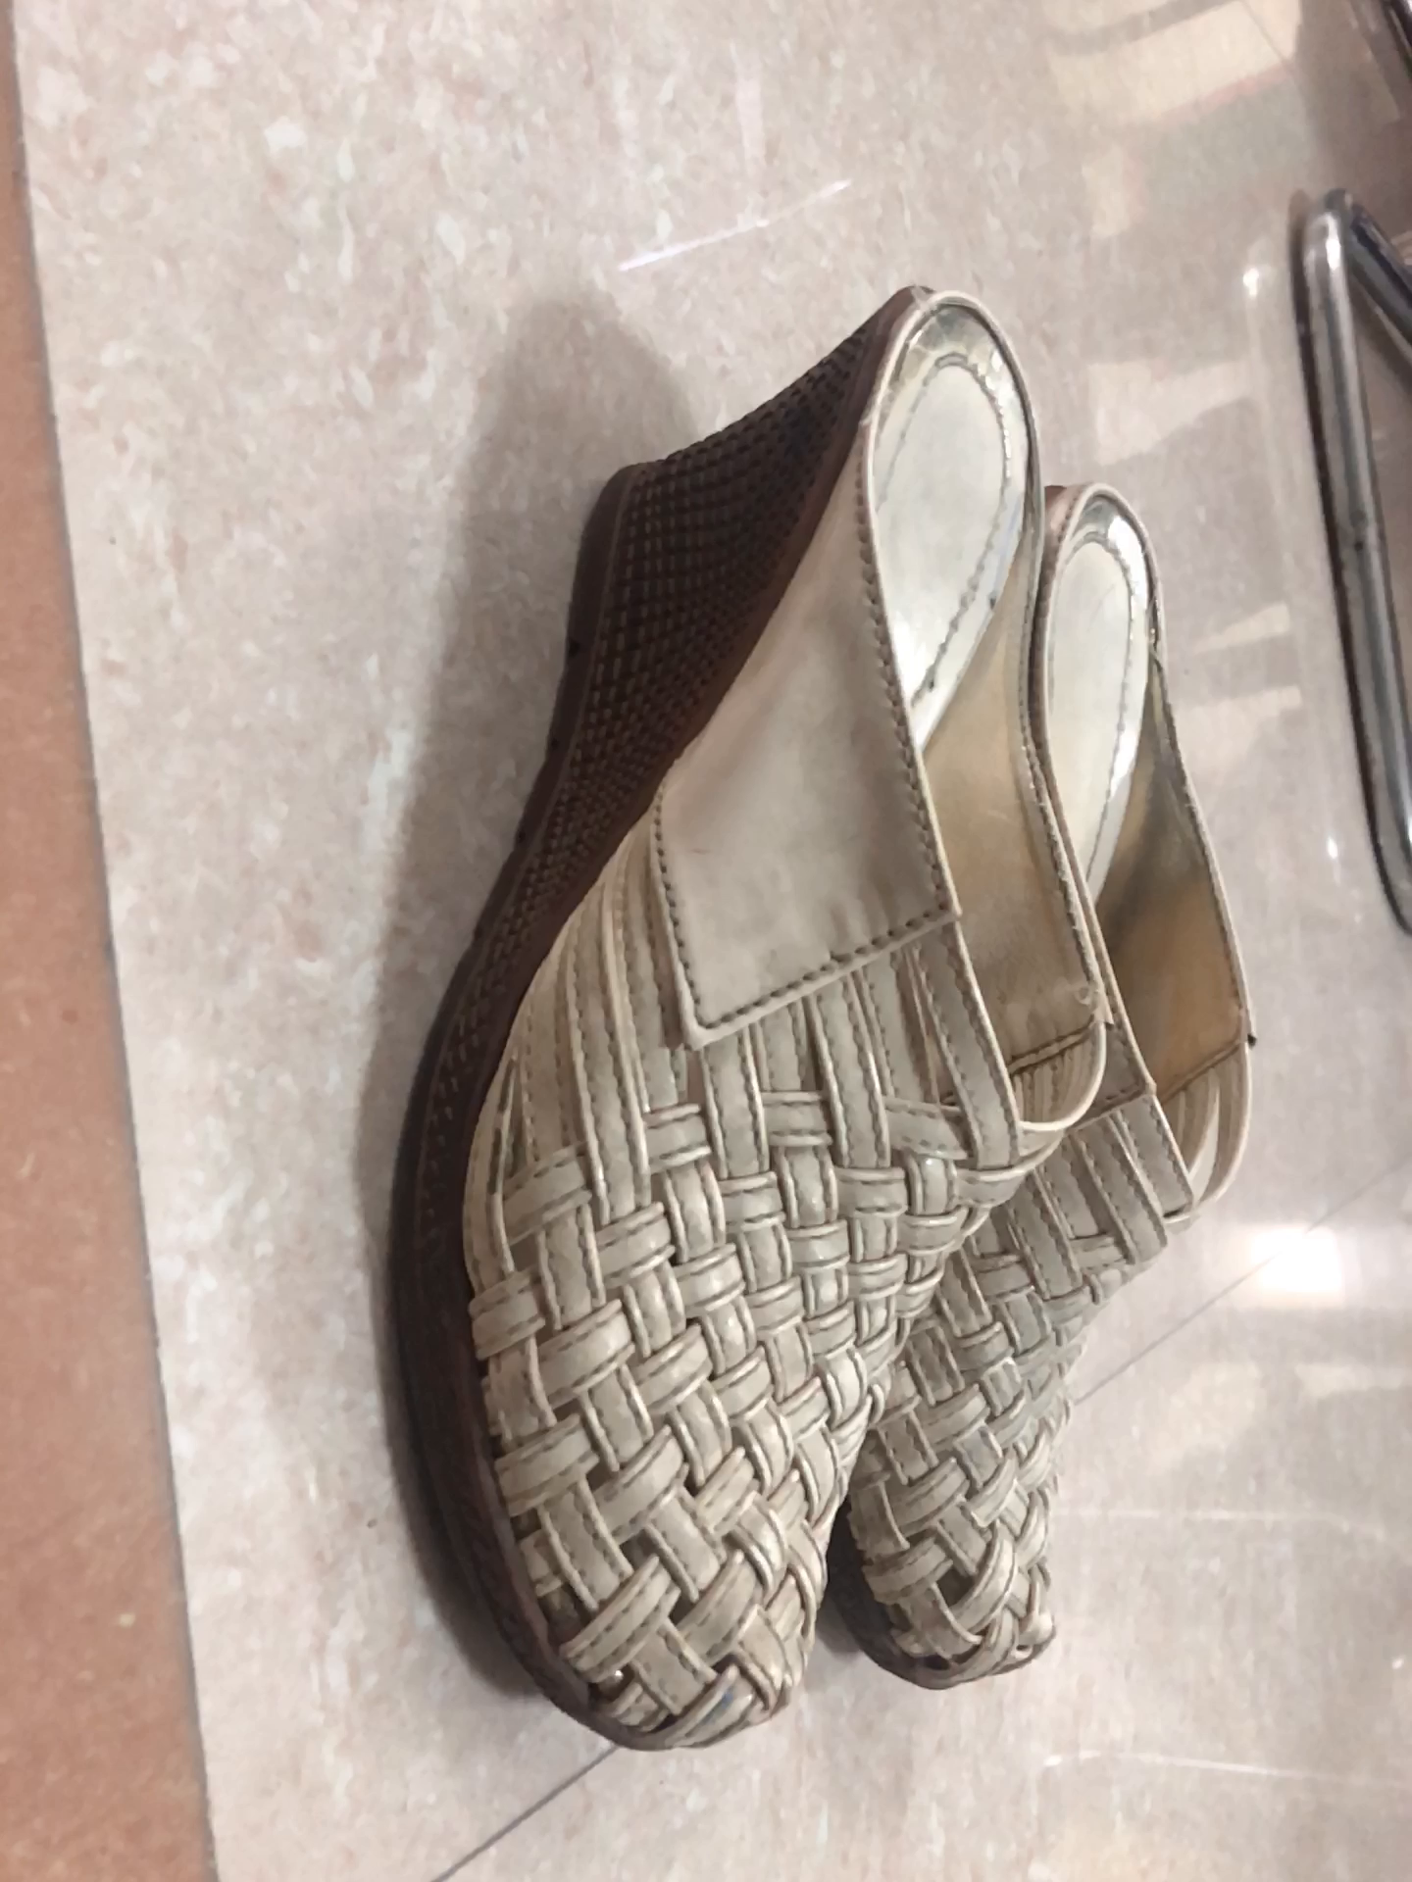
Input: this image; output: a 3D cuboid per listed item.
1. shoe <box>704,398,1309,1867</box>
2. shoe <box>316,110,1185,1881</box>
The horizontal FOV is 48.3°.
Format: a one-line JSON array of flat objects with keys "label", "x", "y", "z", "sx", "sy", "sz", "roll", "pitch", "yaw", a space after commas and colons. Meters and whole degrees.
[{"label": "shoe", "x": 0.062, "y": 0.032, "z": 0.319, "sx": 0.091, "sy": 0.080, "sz": 0.240, "roll": 11, "pitch": 78, "yaw": -49}, {"label": "shoe", "x": 0.018, "y": 0.010, "z": 0.257, "sx": 0.091, "sy": 0.080, "sz": 0.240, "roll": 24, "pitch": 68, "yaw": -49}]
